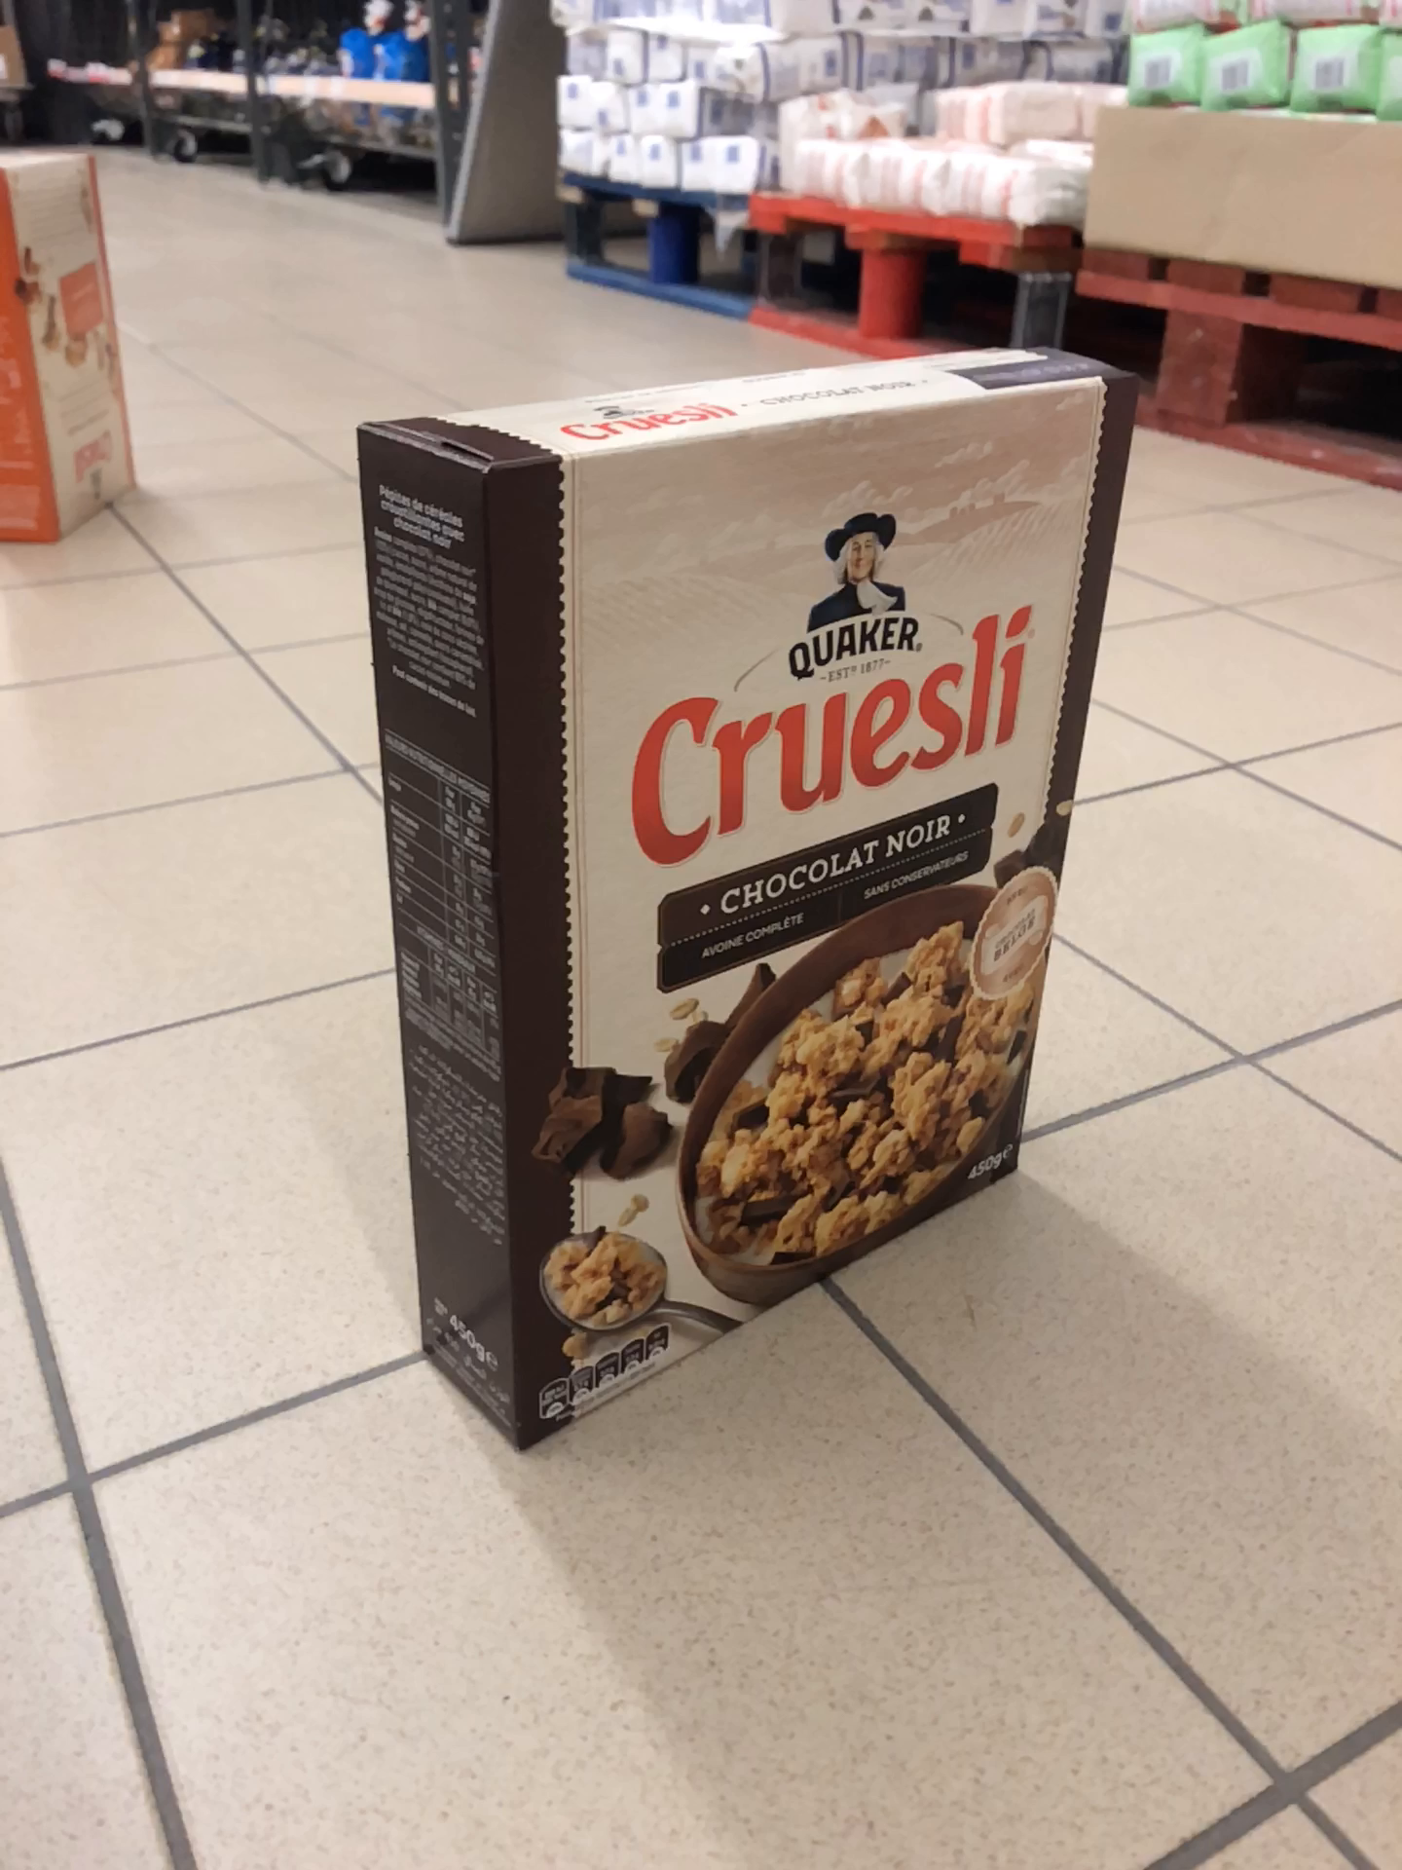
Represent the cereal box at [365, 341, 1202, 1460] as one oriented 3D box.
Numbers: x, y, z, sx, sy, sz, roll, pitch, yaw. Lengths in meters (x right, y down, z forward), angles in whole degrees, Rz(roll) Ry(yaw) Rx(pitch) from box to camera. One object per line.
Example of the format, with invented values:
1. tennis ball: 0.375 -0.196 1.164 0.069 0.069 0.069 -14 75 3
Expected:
1. cereal box: 0.027 -0.015 0.396 0.201 0.239 0.050 -20 35 -34
